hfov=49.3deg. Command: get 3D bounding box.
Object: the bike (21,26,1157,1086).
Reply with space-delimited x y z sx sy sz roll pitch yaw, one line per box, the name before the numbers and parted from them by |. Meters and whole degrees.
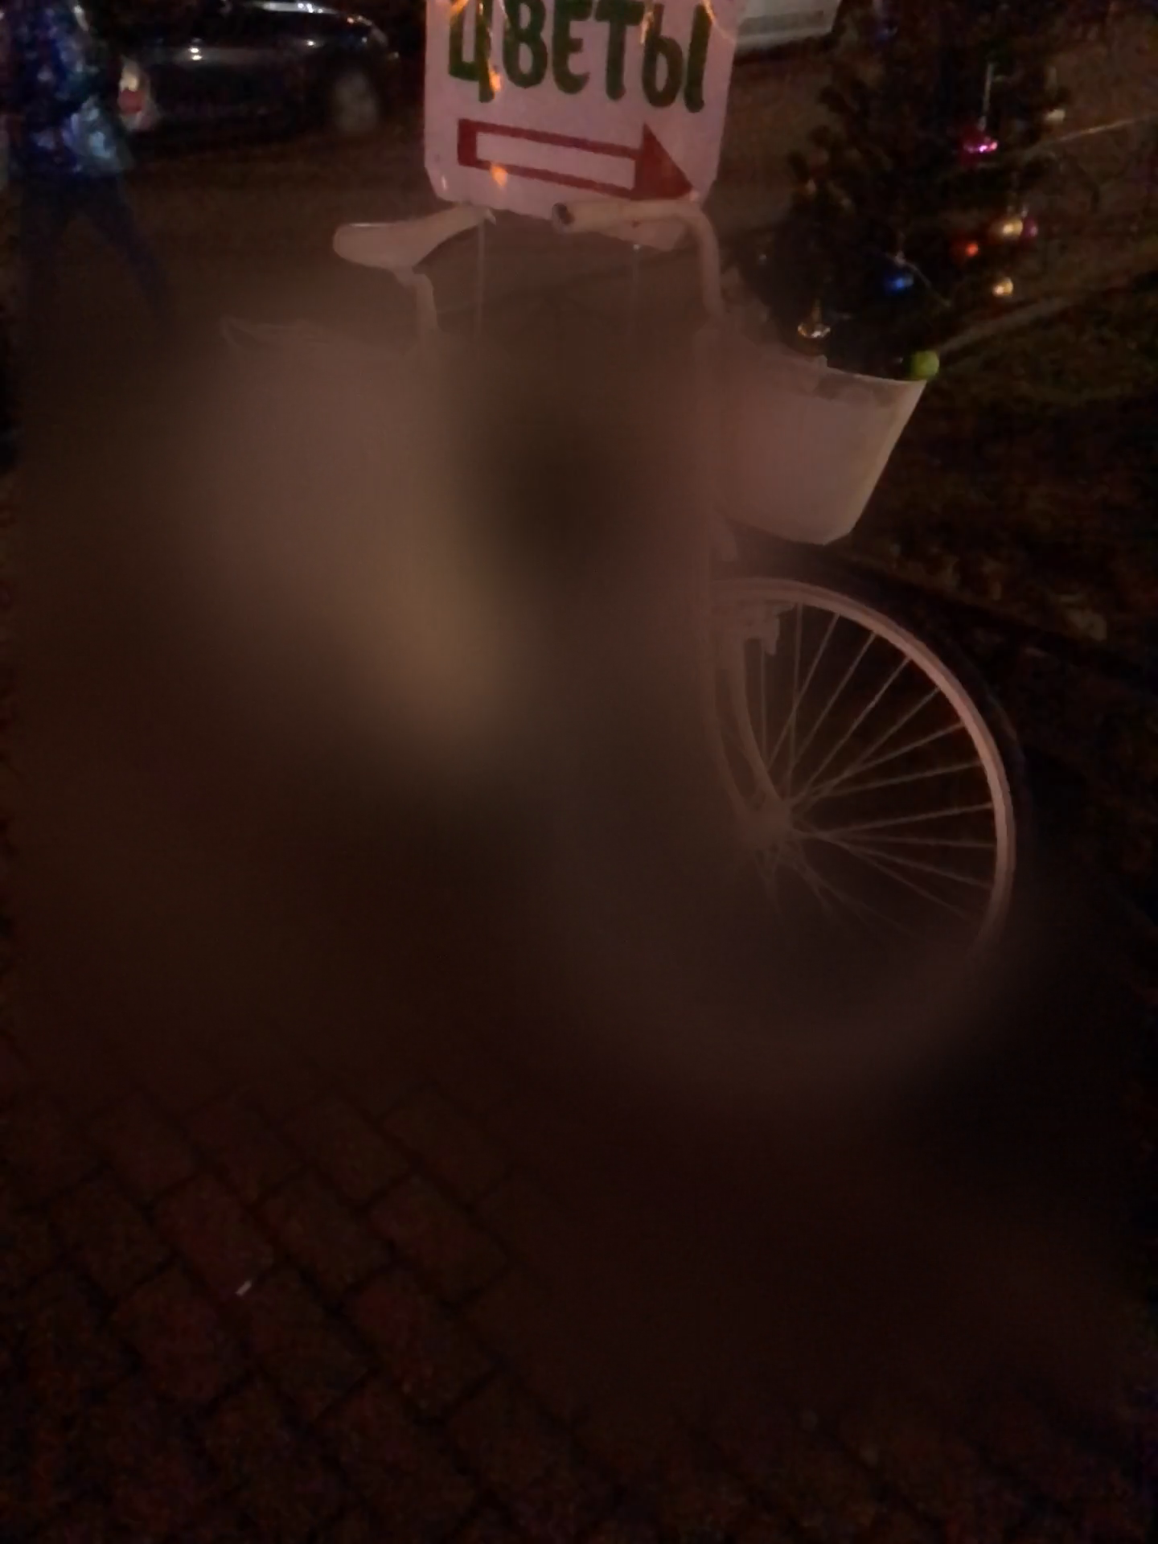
bike | -0.054 -0.472 2.037 1.832 1.118 0.607 25 43 38
